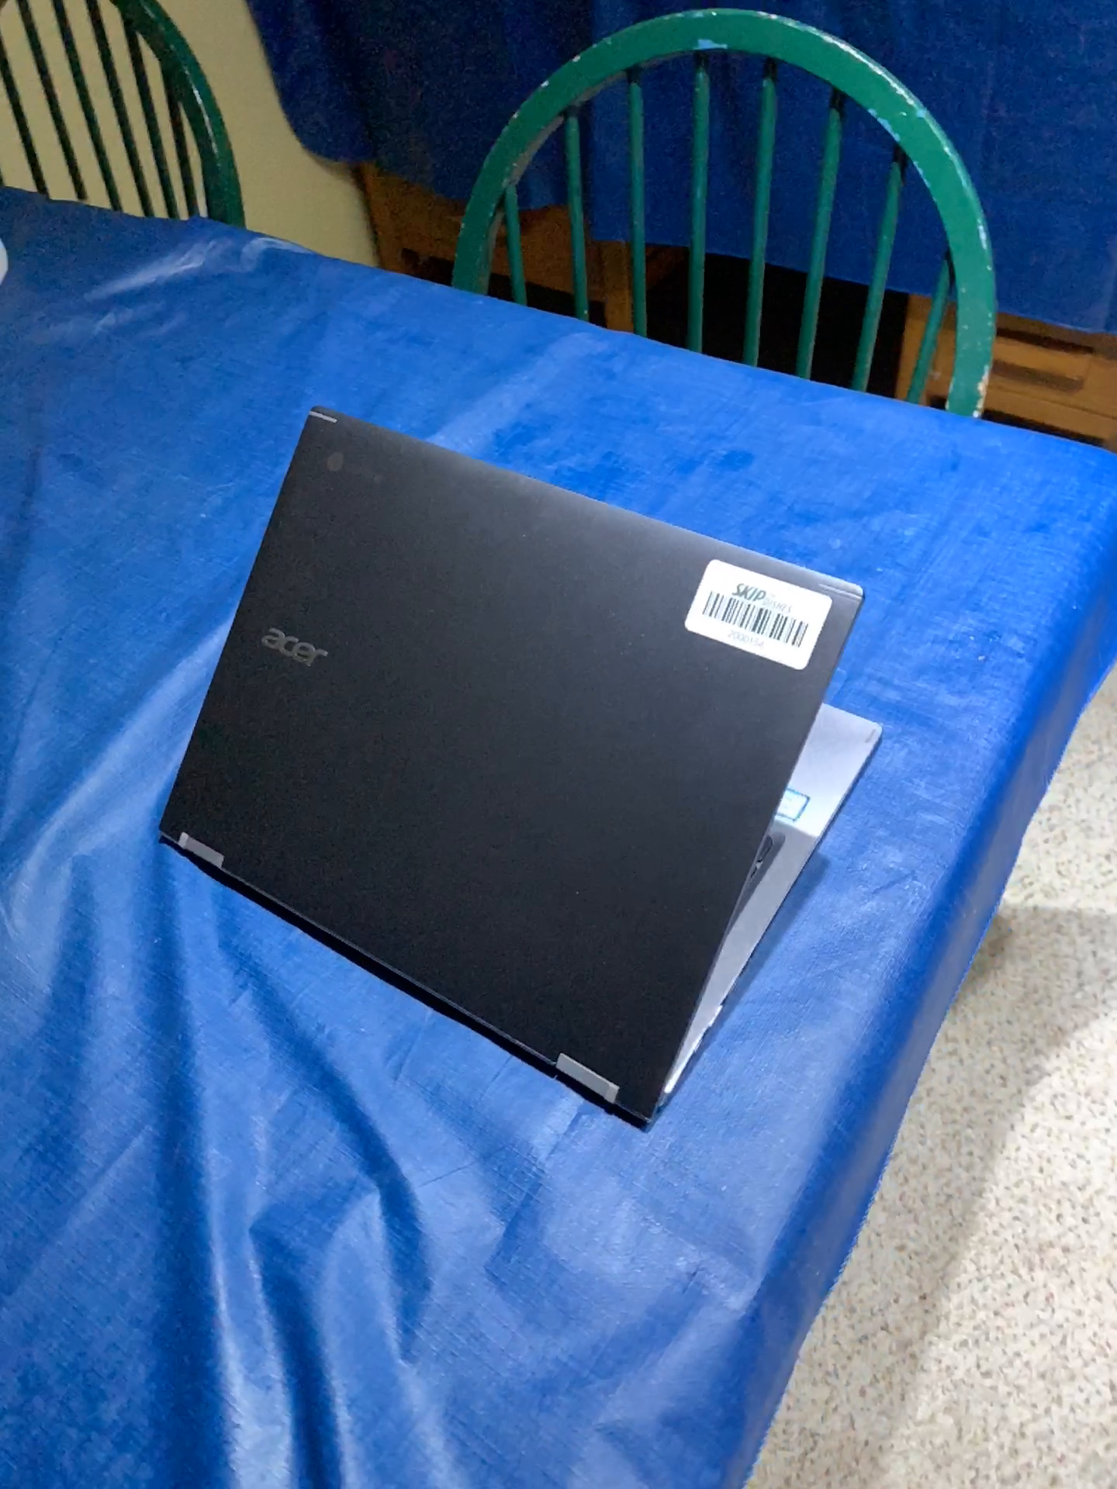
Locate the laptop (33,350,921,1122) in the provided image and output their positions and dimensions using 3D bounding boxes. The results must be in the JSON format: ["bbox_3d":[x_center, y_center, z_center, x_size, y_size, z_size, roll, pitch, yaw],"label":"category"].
[{"bbox_3d":[-0.029,-0.026,0.557,0.304,0.151,0.250,24,58,25],"label":"laptop"}]
